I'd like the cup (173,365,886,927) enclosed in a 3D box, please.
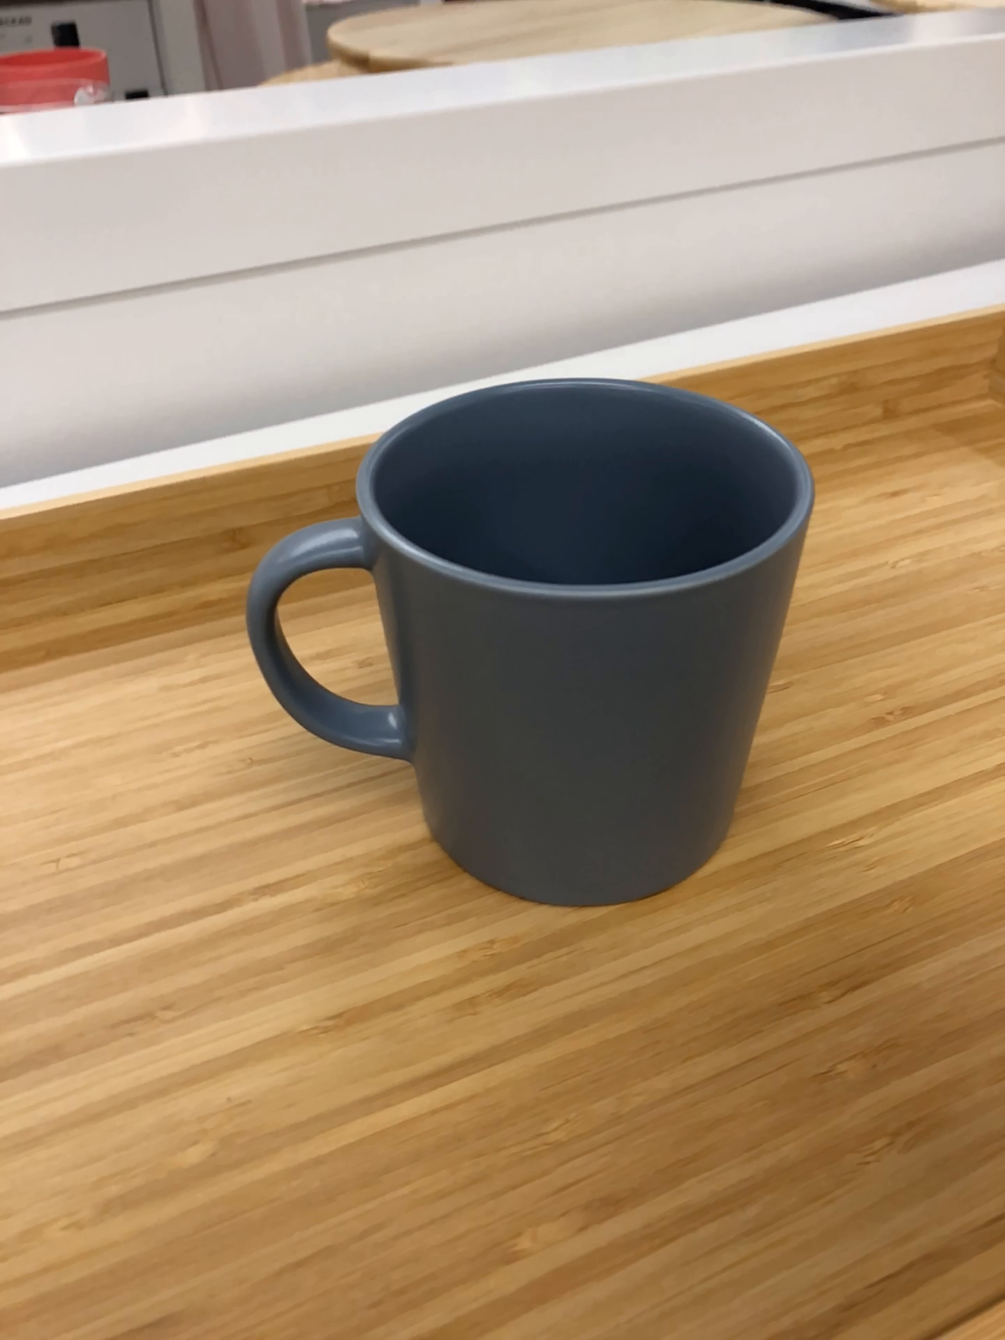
[{"bbox_3d":[0.005,-0.008,0.251,0.120,0.090,0.090,0,37,1],"label":"cup"}]
